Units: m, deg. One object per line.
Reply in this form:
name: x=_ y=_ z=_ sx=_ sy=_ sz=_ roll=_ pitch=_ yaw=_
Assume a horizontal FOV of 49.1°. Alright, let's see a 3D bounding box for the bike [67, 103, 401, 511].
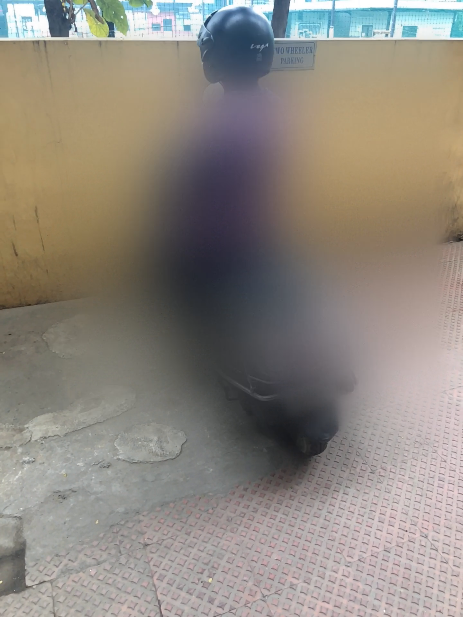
bike: x=-0.185 y=-0.204 z=2.358 sx=0.644 sy=1.182 sz=1.721 roll=-12 pitch=32 yaw=-22
